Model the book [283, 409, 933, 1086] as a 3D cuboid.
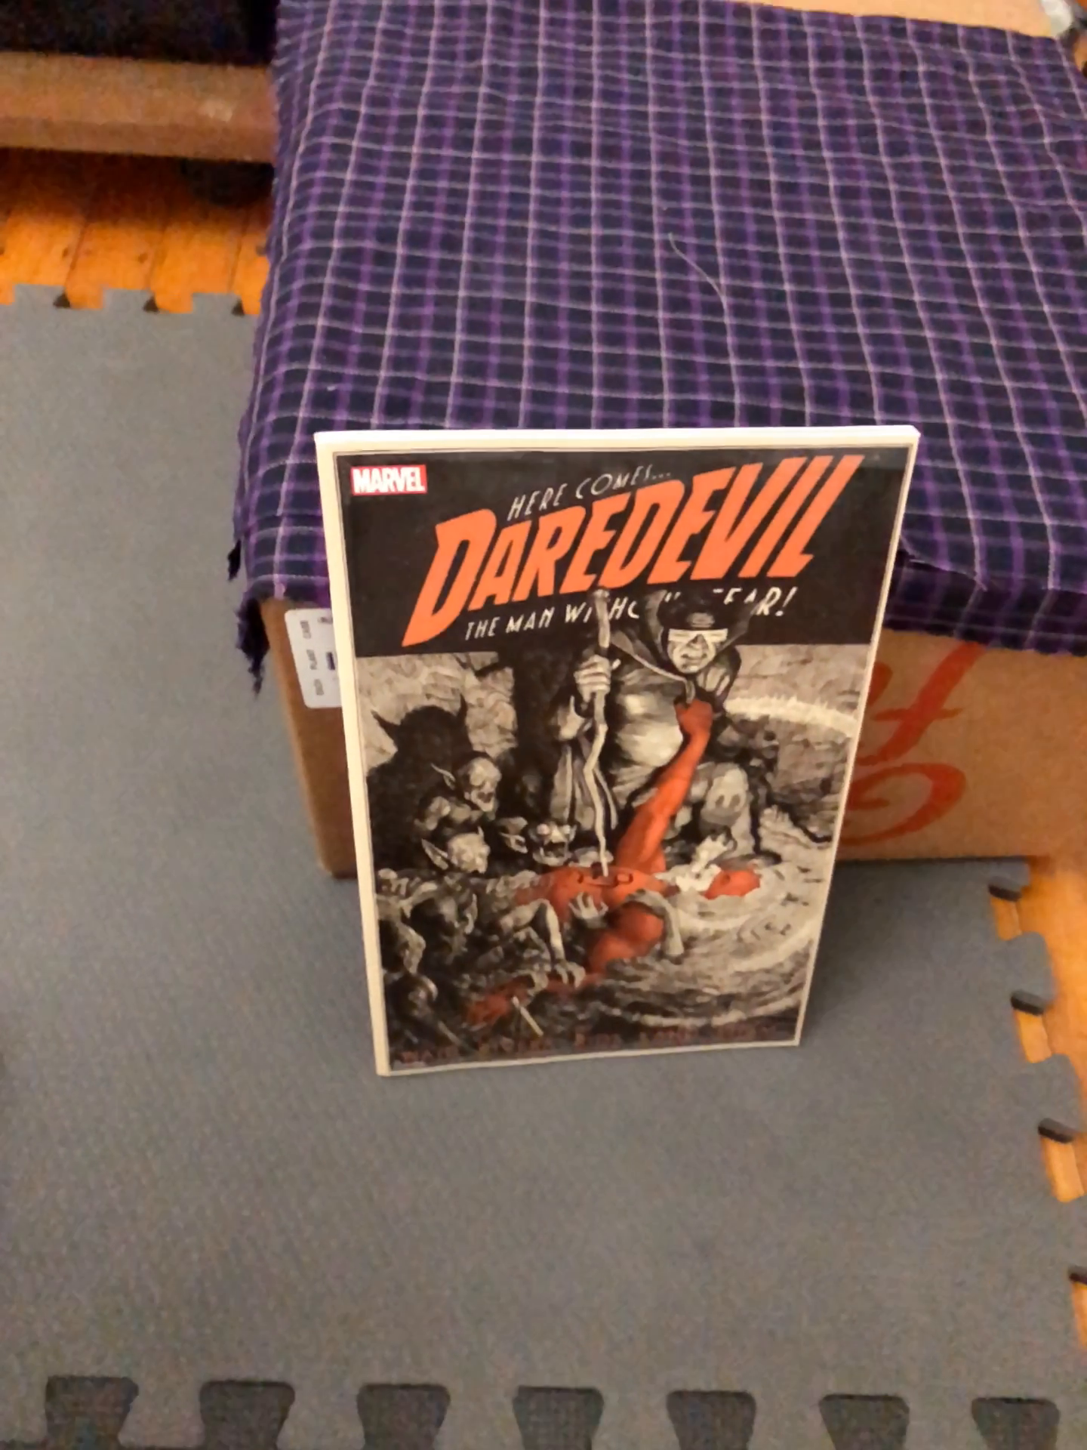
[{"bbox_3d":[0.015,0.021,0.367,0.160,0.229,0.020,-3,35,-5],"label":"book"}]
